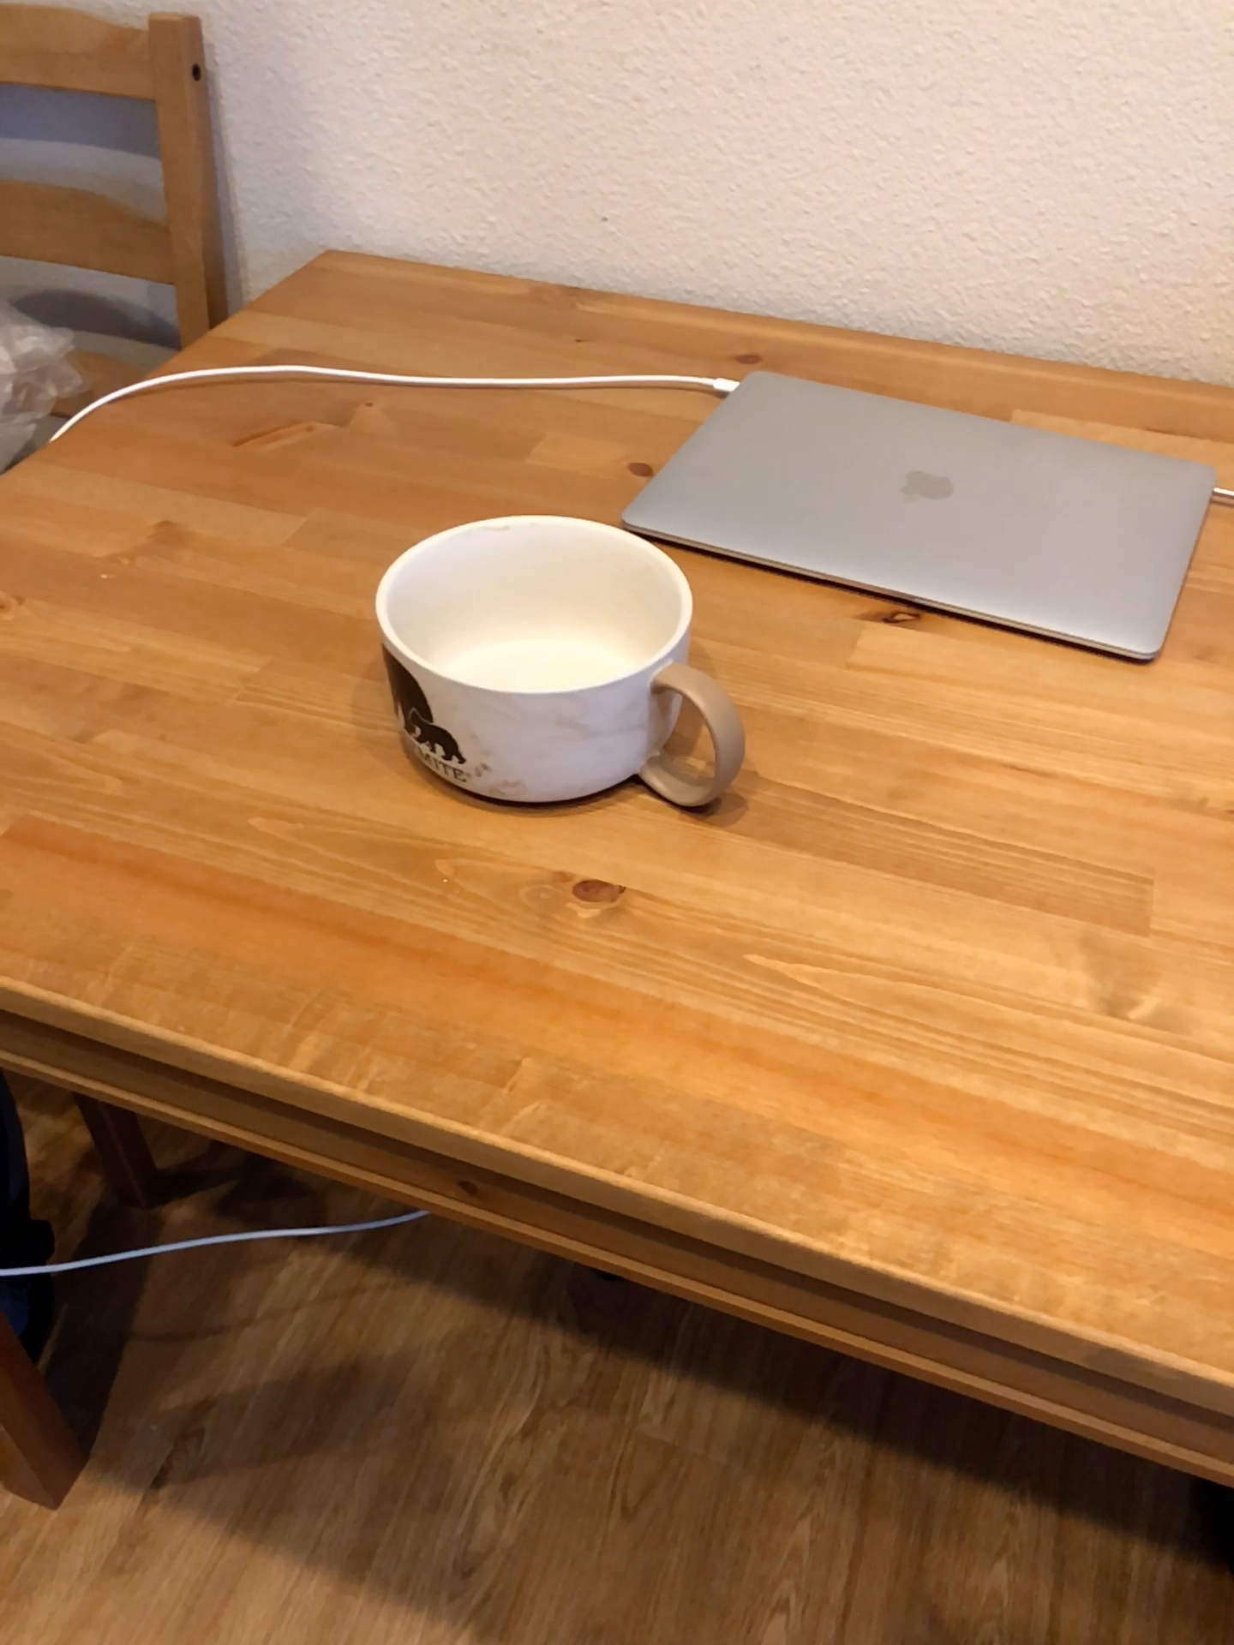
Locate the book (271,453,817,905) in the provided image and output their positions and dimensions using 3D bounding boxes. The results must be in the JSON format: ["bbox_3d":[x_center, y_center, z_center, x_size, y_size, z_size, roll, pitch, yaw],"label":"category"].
[{"bbox_3d":[-0.033,-0.072,0.595,0.190,0.080,0.130,31,50,30],"label":"book"}]
